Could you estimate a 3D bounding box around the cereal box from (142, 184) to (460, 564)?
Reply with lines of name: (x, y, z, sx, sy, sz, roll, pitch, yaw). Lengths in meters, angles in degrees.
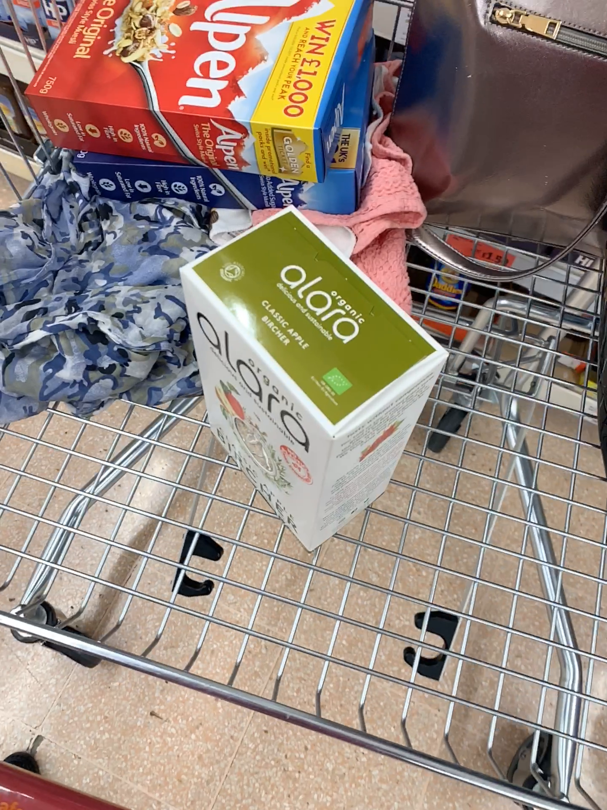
cereal box: (-0.008, -0.003, 0.349, 0.080, 0.179, 0.120, -35, 70, -19)
